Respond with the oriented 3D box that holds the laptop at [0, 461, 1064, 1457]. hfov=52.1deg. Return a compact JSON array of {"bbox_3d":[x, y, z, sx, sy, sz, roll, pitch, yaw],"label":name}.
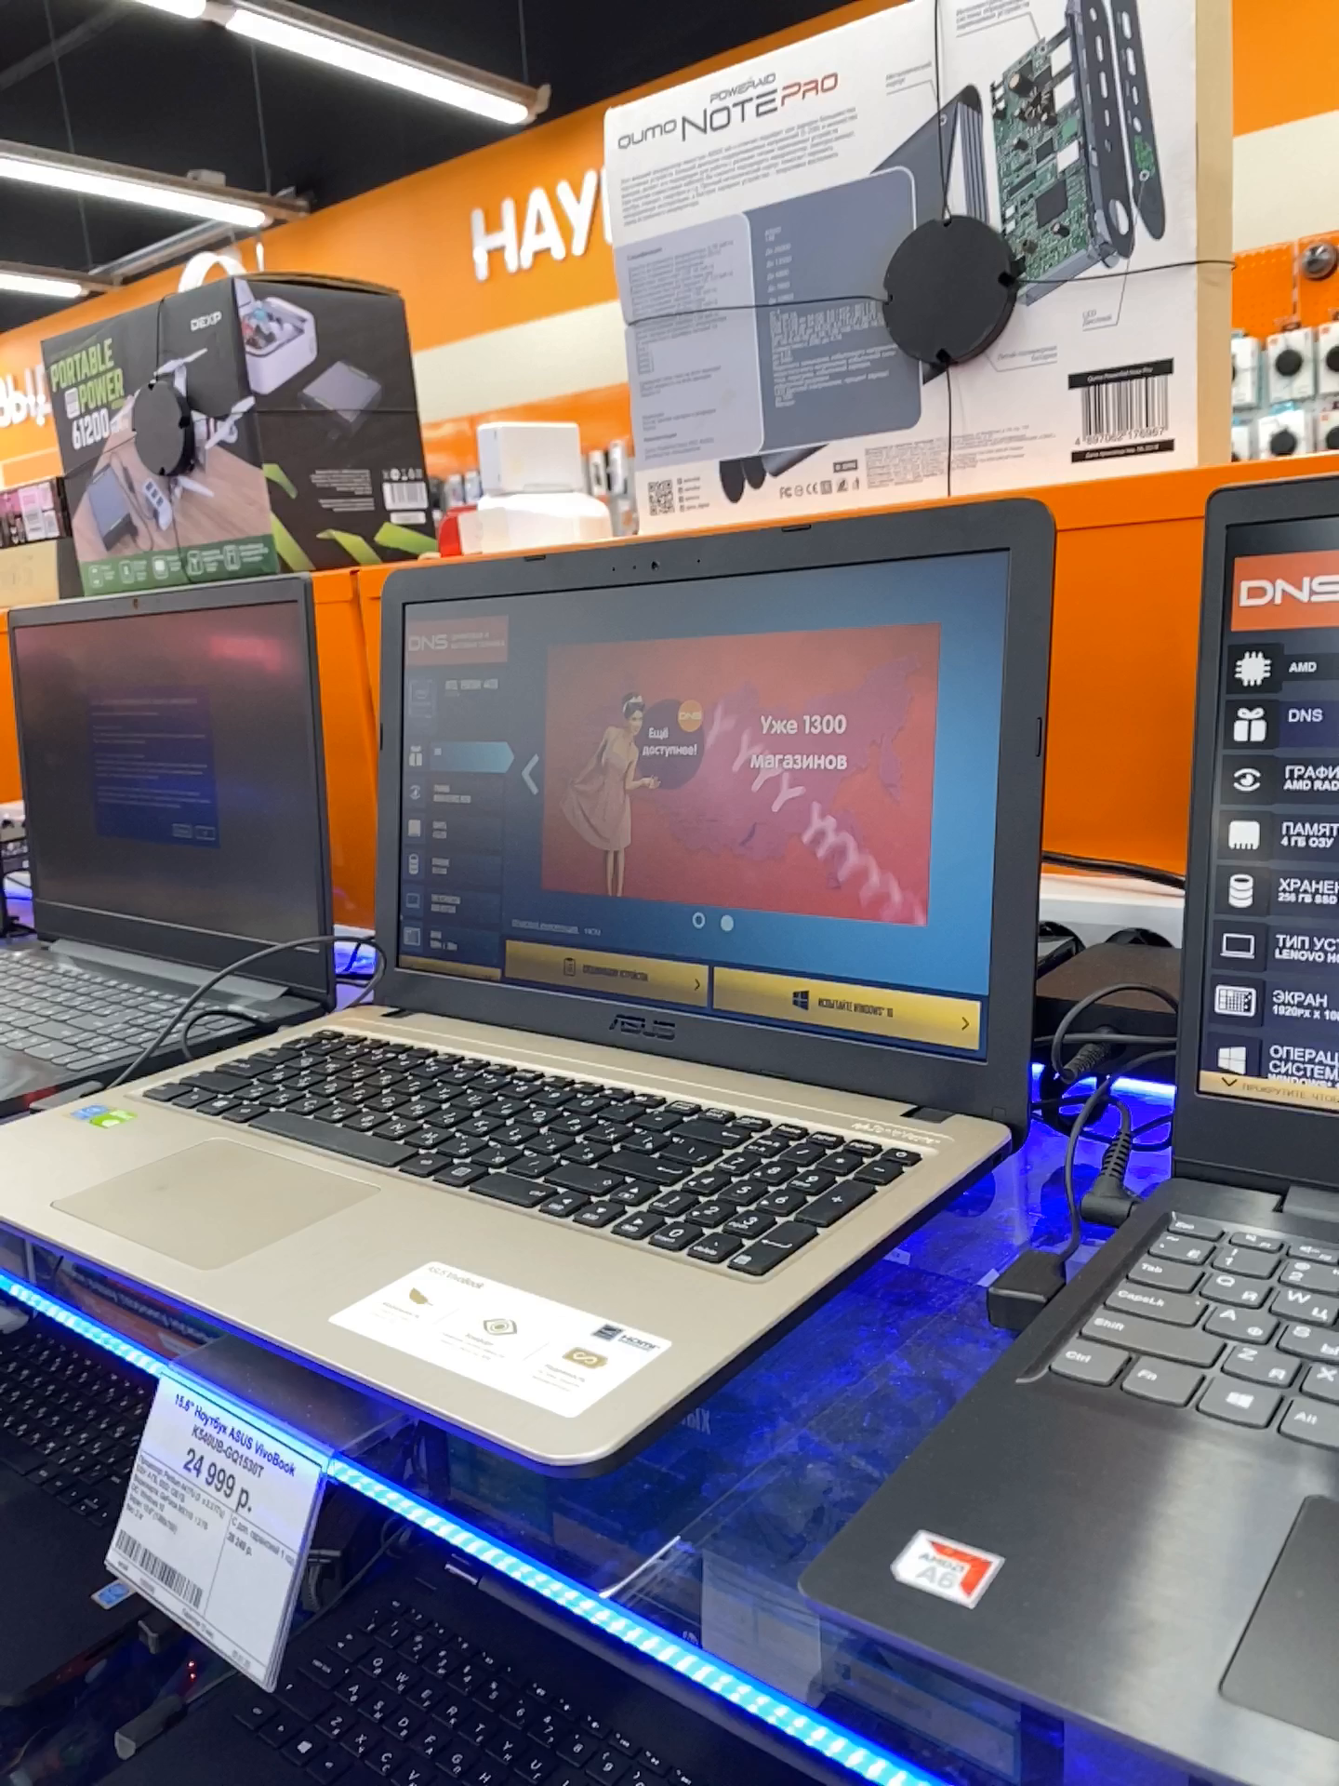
[{"bbox_3d":[-0.085,-0.018,0.539,0.377,0.231,0.293,4,13,38],"label":"laptop"}]
